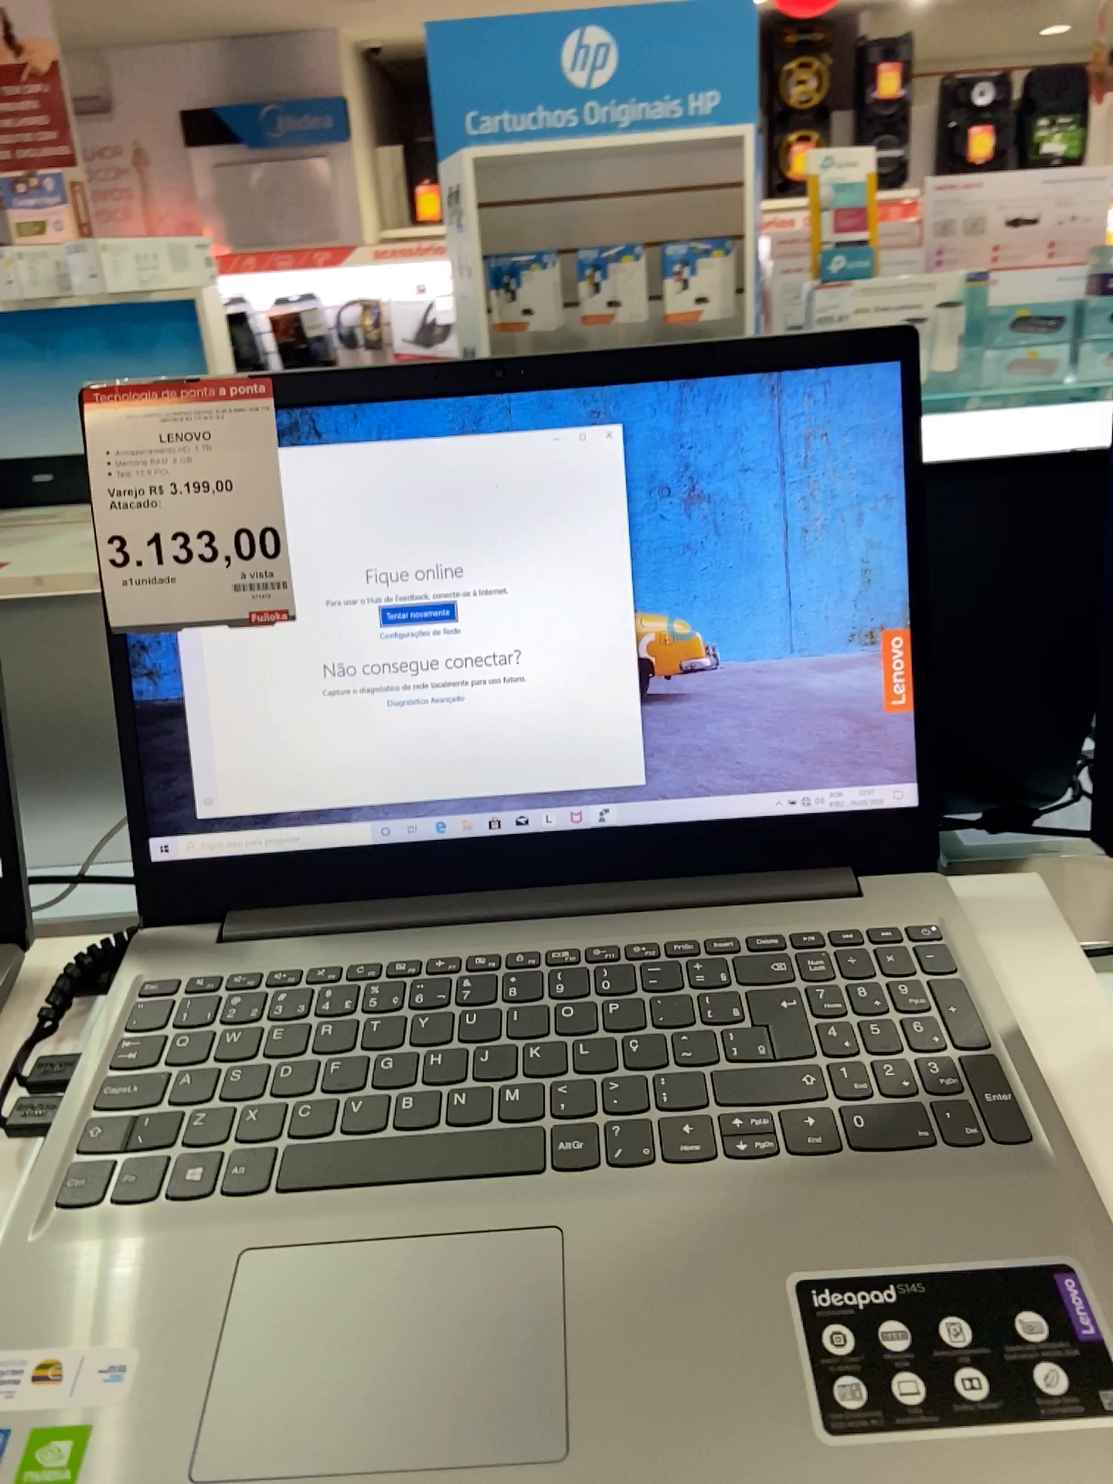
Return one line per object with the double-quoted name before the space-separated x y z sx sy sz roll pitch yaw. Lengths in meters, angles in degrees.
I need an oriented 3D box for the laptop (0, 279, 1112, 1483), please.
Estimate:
"laptop" -0.015 0.004 0.411 0.362 0.224 0.361 -4 29 1
